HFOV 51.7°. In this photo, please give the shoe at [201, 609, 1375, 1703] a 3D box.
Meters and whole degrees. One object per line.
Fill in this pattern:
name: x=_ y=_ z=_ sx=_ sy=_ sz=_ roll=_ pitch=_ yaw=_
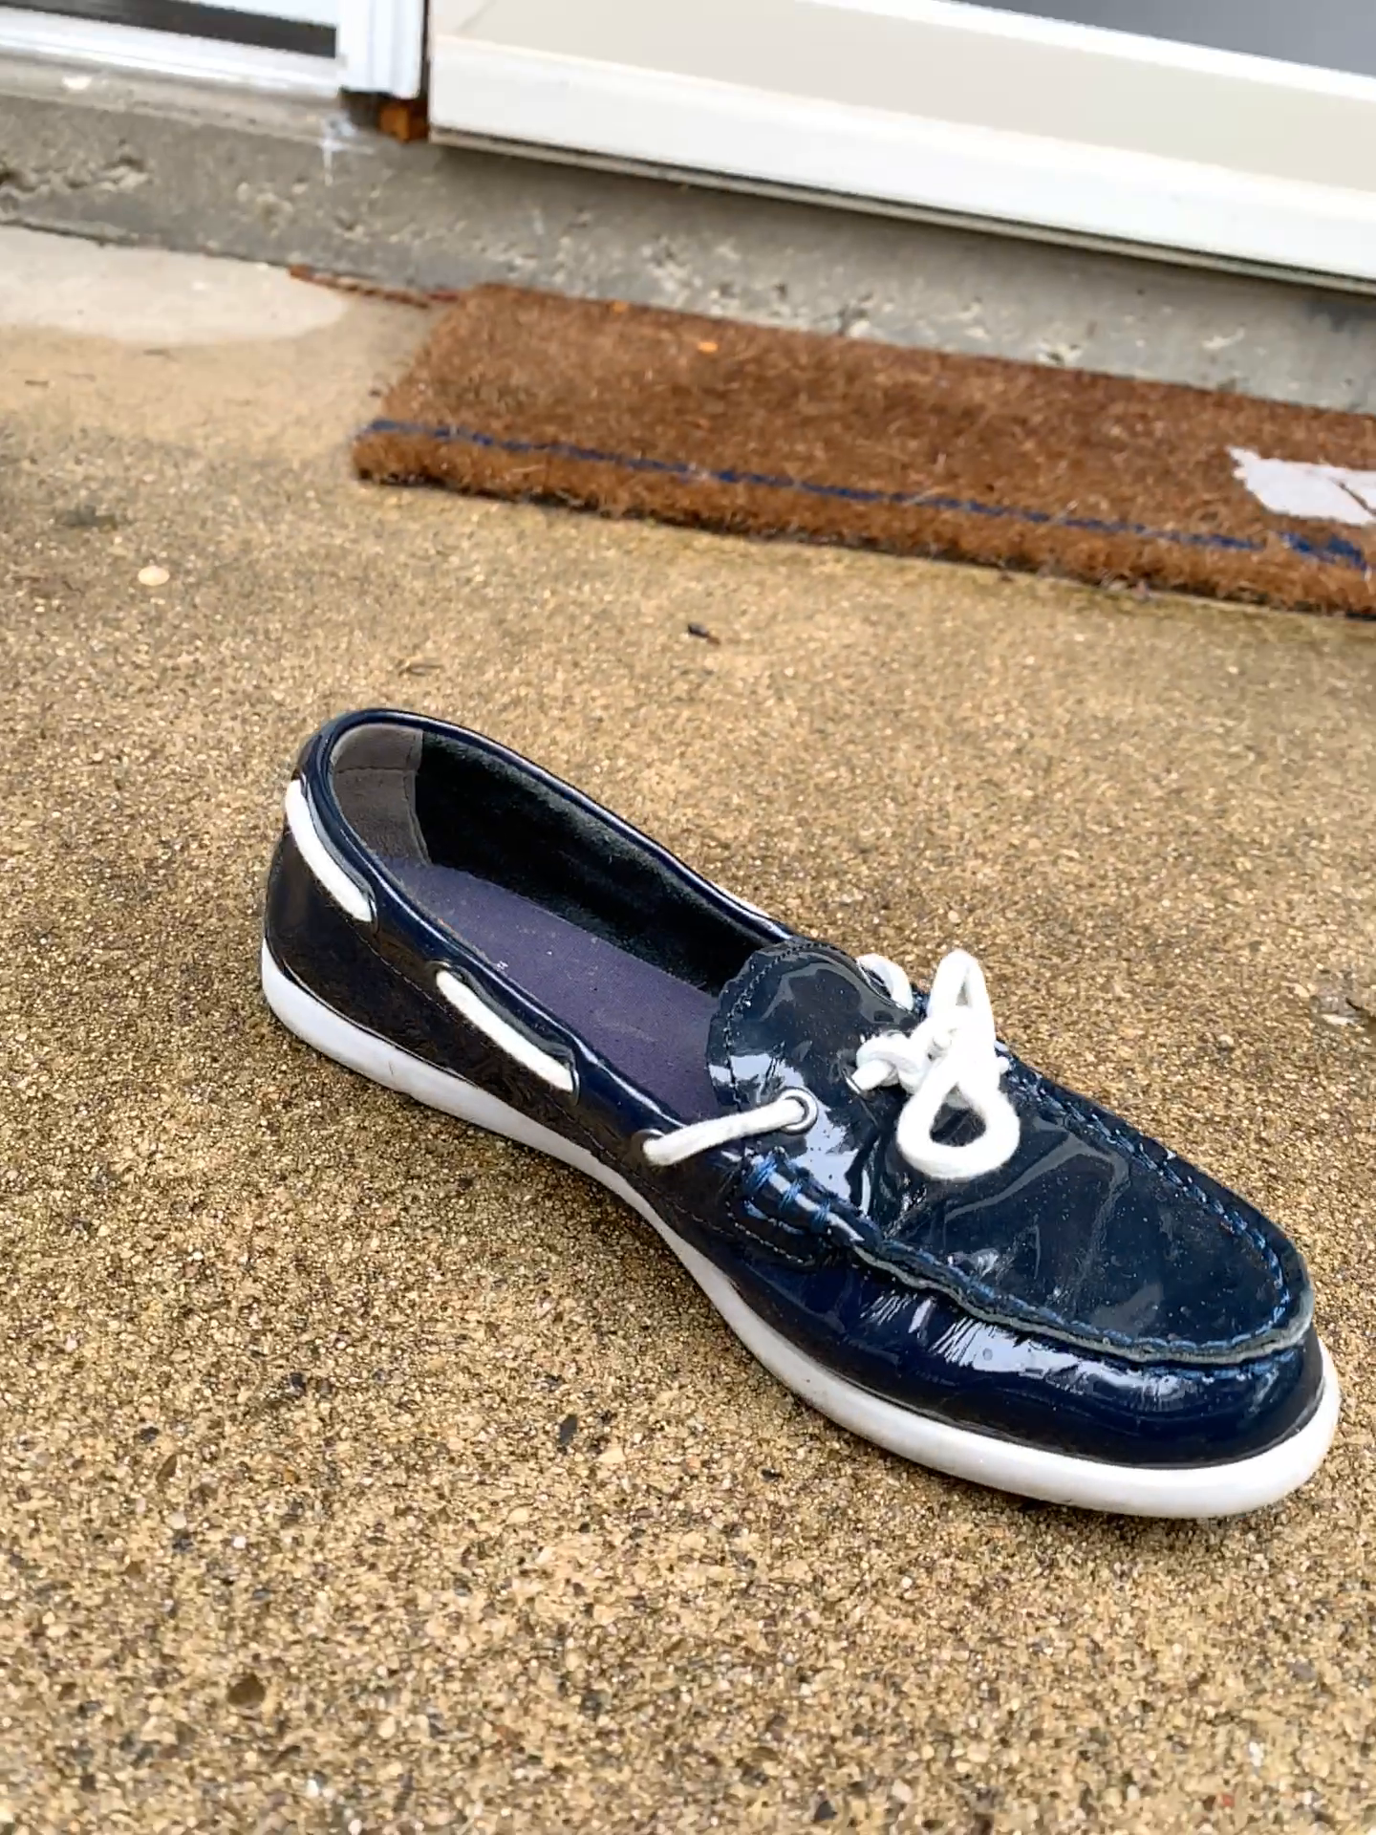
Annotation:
shoe: x=0.021 y=0.024 z=0.299 sx=0.246 sy=0.083 sz=0.101 roll=27 pitch=36 yaw=25
